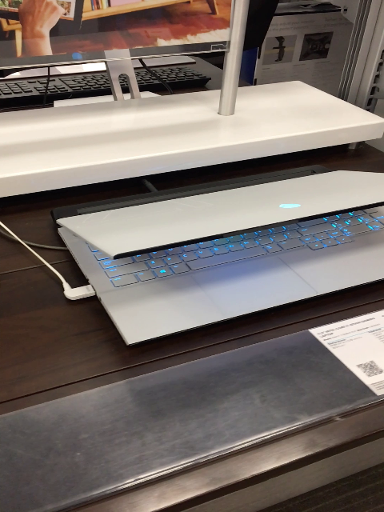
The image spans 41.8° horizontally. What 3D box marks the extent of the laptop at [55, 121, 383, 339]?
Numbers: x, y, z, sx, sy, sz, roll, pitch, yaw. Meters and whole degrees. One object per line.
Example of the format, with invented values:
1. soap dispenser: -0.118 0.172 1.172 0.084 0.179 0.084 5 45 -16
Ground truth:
1. laptop: 0.087 -0.054 0.611 0.424 0.101 0.223 -13 40 -17
